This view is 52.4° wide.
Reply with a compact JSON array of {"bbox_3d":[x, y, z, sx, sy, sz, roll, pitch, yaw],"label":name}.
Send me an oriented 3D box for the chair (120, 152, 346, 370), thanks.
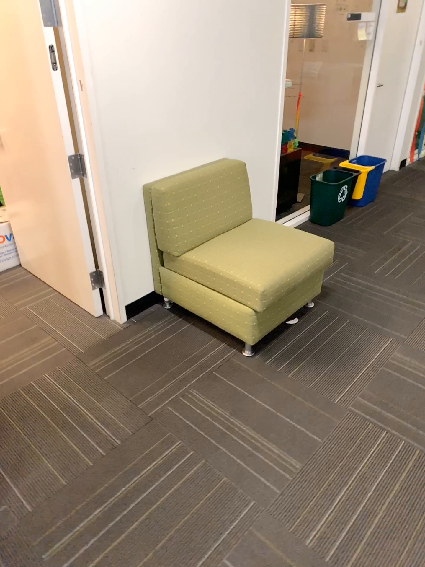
[{"bbox_3d":[0.100,-0.185,2.227,0.783,0.686,0.732,26,40,36],"label":"chair"}]
